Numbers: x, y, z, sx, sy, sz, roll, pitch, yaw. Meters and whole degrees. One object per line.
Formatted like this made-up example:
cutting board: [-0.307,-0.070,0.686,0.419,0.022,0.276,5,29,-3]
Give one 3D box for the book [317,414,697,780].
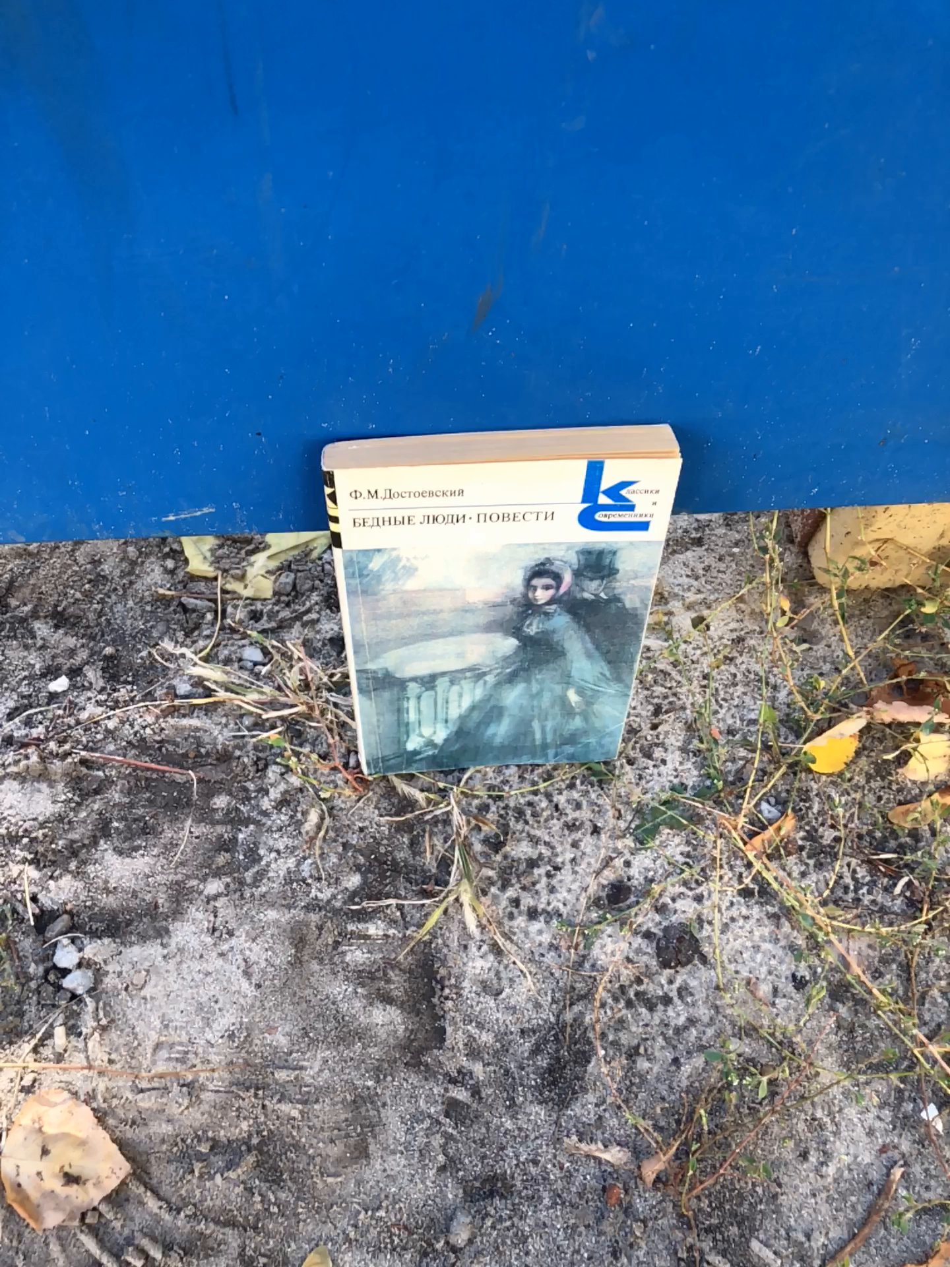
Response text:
book: [0.009,-0.004,0.429,0.127,0.187,0.026,-4,51,-4]
